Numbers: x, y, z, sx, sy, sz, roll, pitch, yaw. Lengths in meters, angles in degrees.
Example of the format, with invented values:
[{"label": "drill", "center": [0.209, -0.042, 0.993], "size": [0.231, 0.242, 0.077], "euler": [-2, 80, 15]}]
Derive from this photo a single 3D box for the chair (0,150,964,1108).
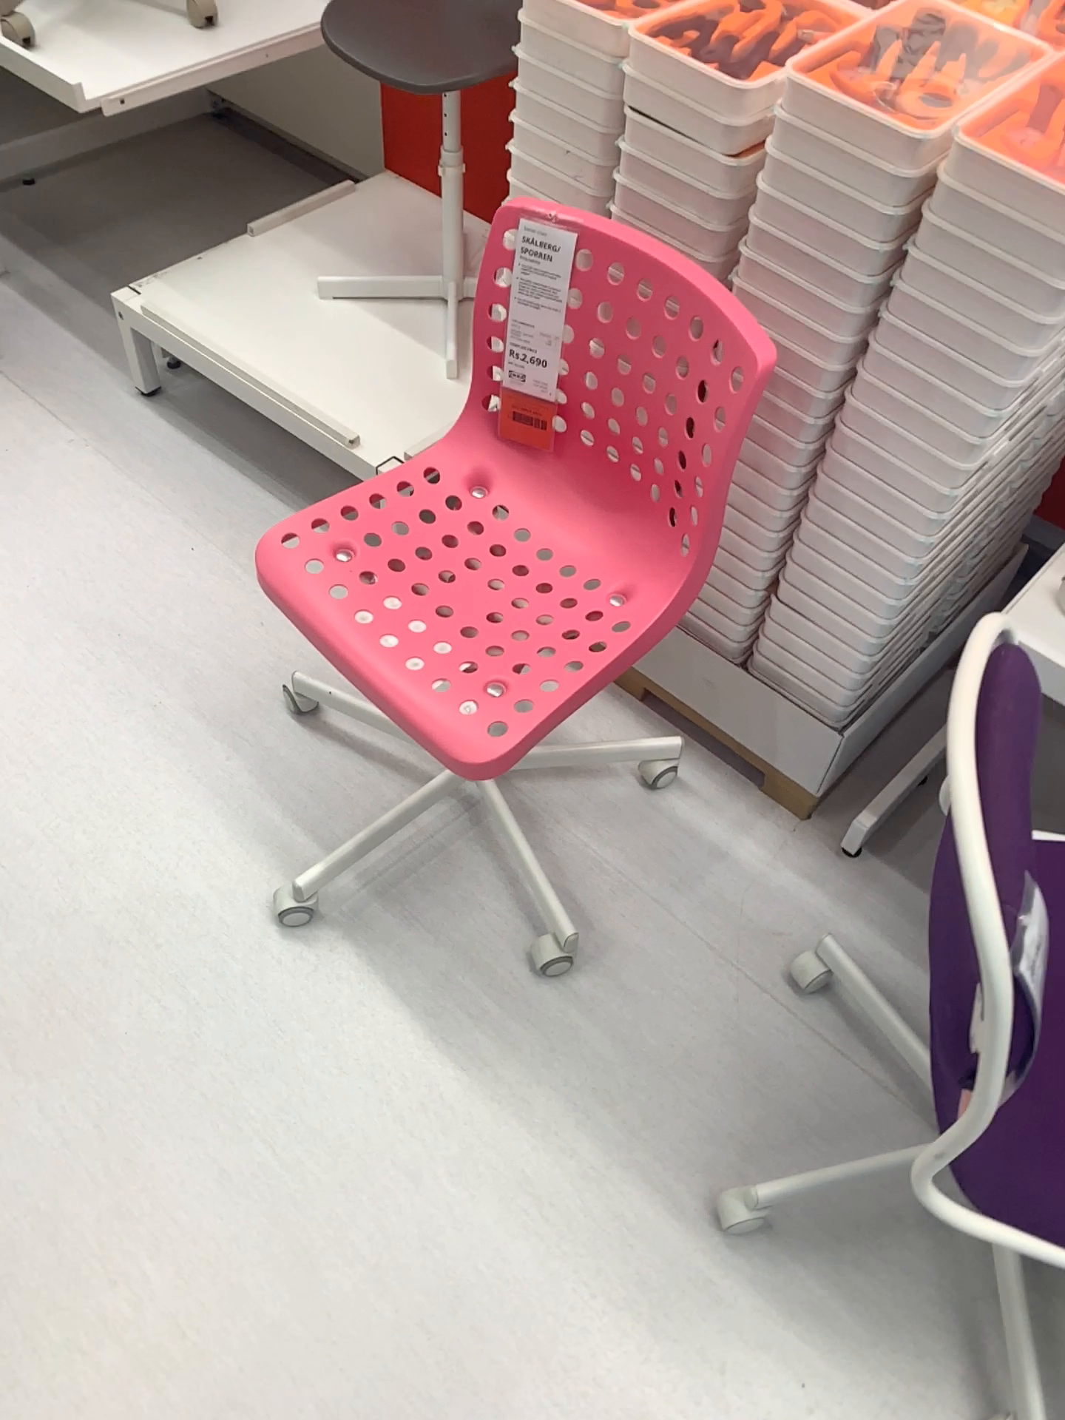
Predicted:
[{"label": "chair", "center": [-0.069, -0.115, 1.325], "size": [0.691, 0.688, 0.671], "euler": [-36, 62, -28]}]
